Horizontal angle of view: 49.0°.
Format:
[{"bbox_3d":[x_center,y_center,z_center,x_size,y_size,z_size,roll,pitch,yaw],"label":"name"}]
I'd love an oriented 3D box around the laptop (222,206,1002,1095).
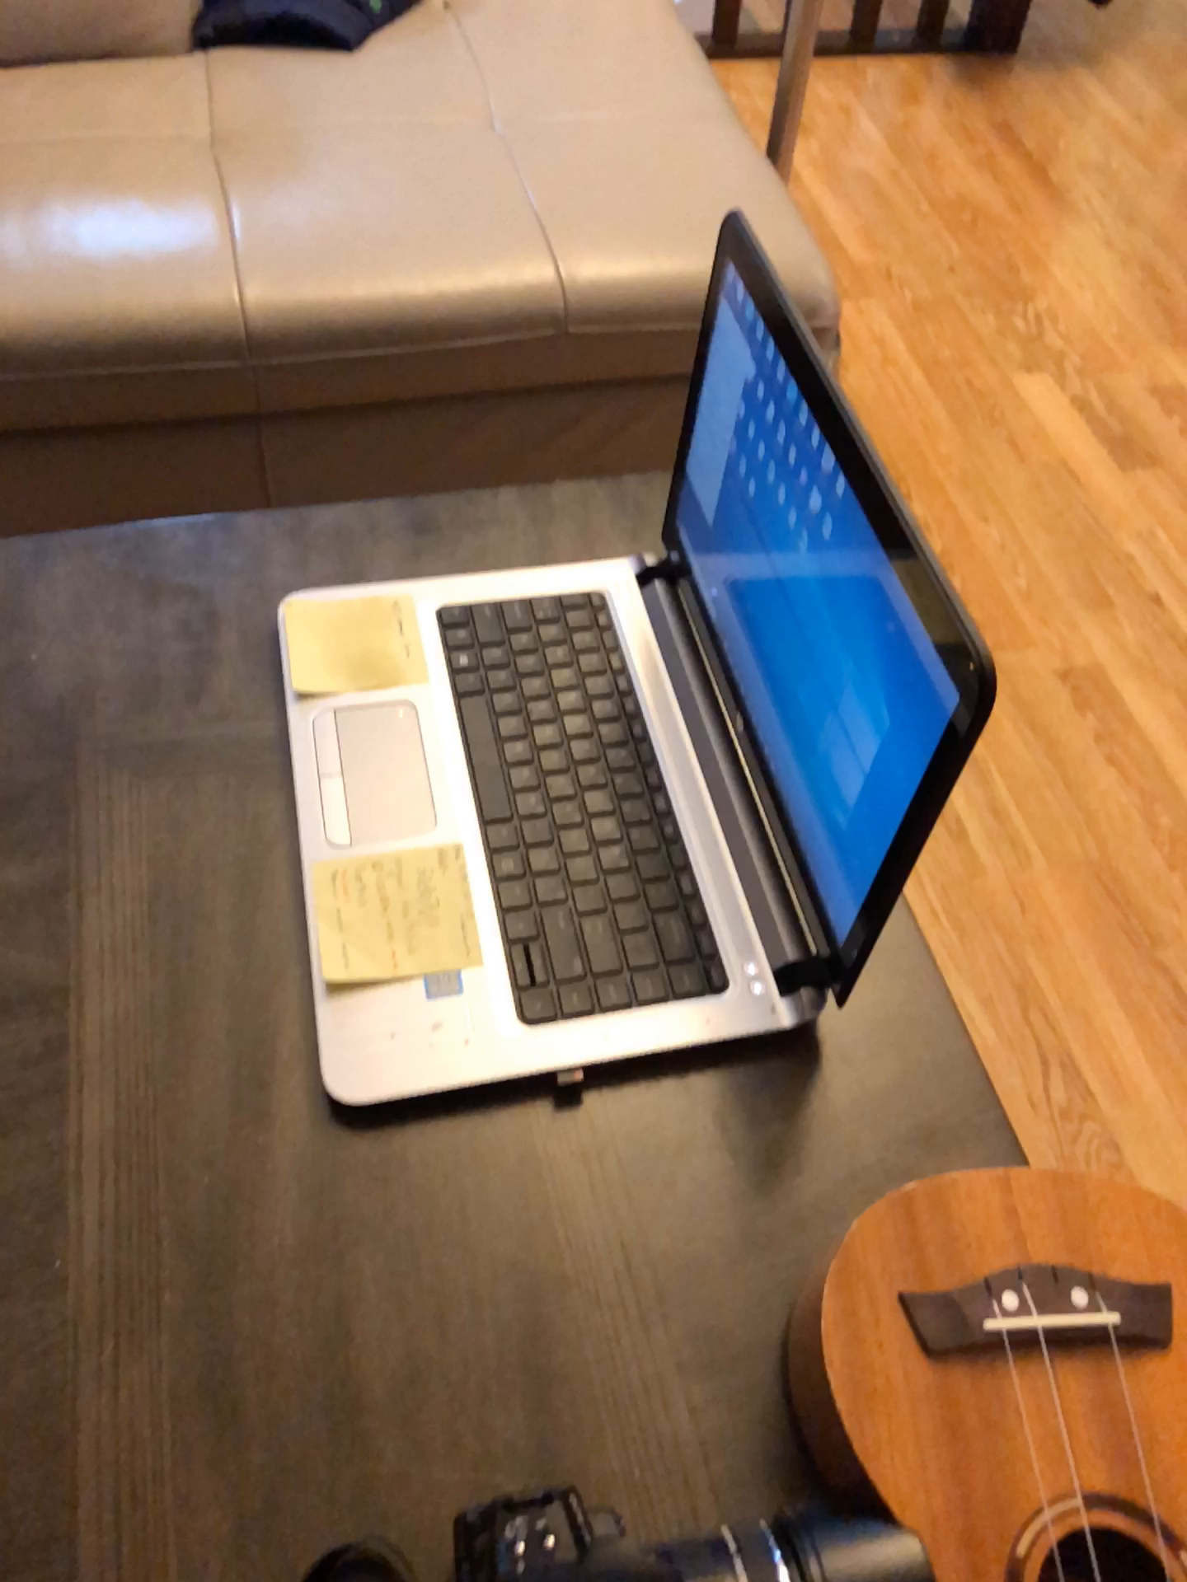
[{"bbox_3d":[-0.021,-0.076,0.607,0.246,0.217,0.319,-9,53,-10],"label":"laptop"}]
